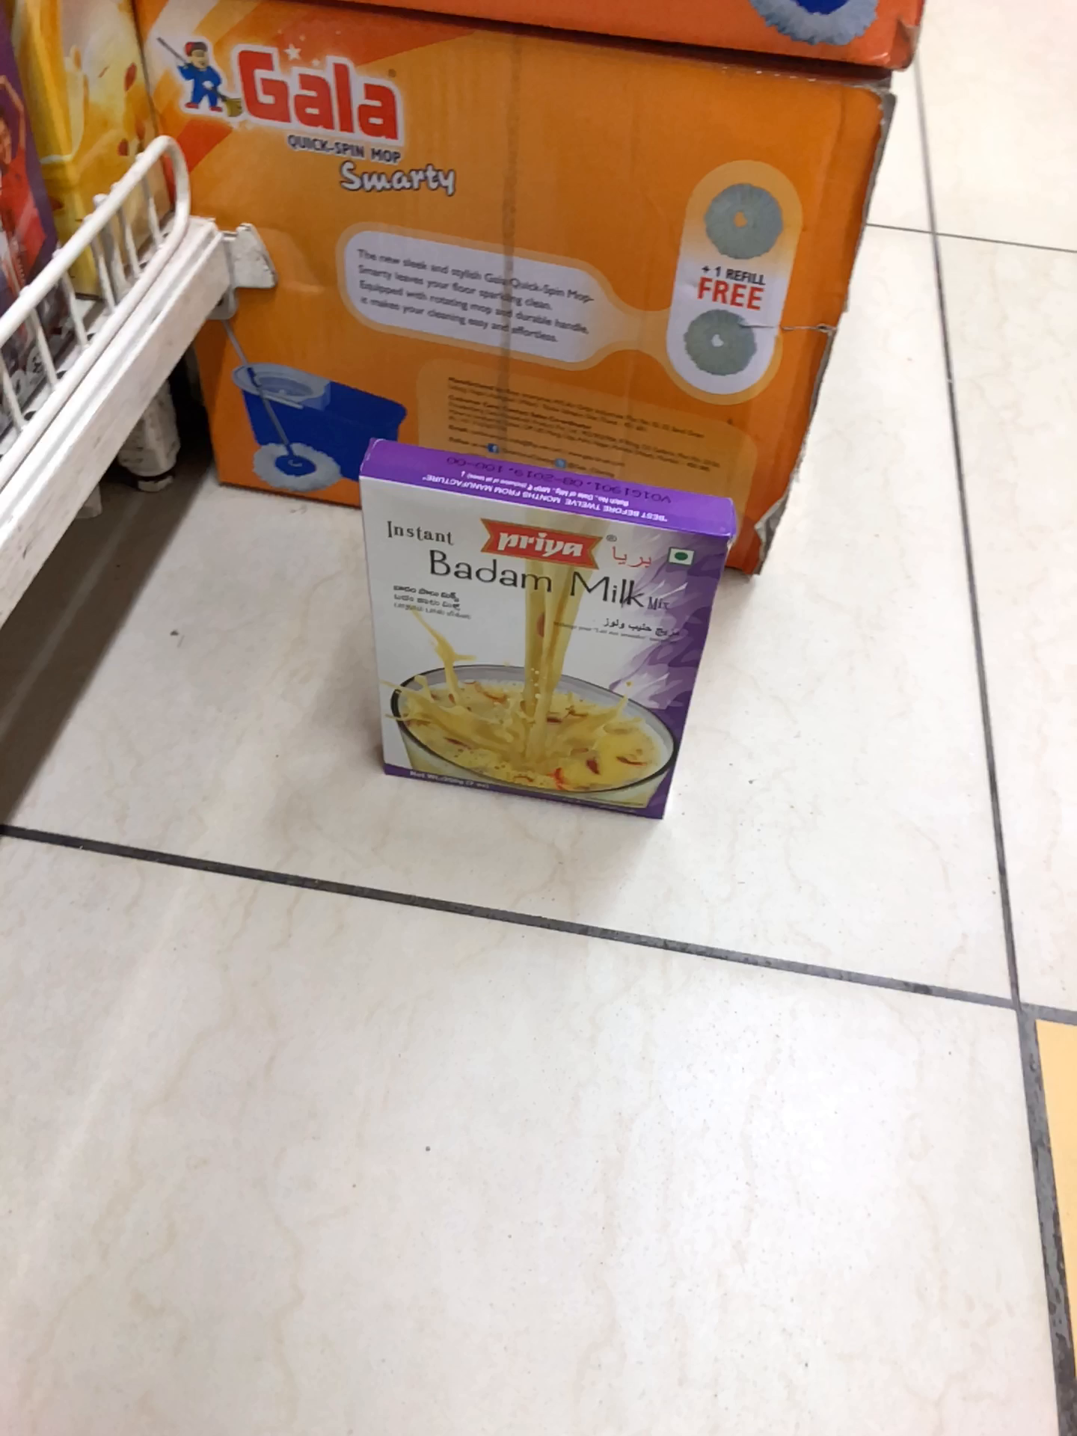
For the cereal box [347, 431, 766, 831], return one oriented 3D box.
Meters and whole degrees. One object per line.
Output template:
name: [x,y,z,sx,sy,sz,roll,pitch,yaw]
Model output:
cereal box: [0.003,-0.025,0.433,0.130,0.149,0.030,9,49,3]
